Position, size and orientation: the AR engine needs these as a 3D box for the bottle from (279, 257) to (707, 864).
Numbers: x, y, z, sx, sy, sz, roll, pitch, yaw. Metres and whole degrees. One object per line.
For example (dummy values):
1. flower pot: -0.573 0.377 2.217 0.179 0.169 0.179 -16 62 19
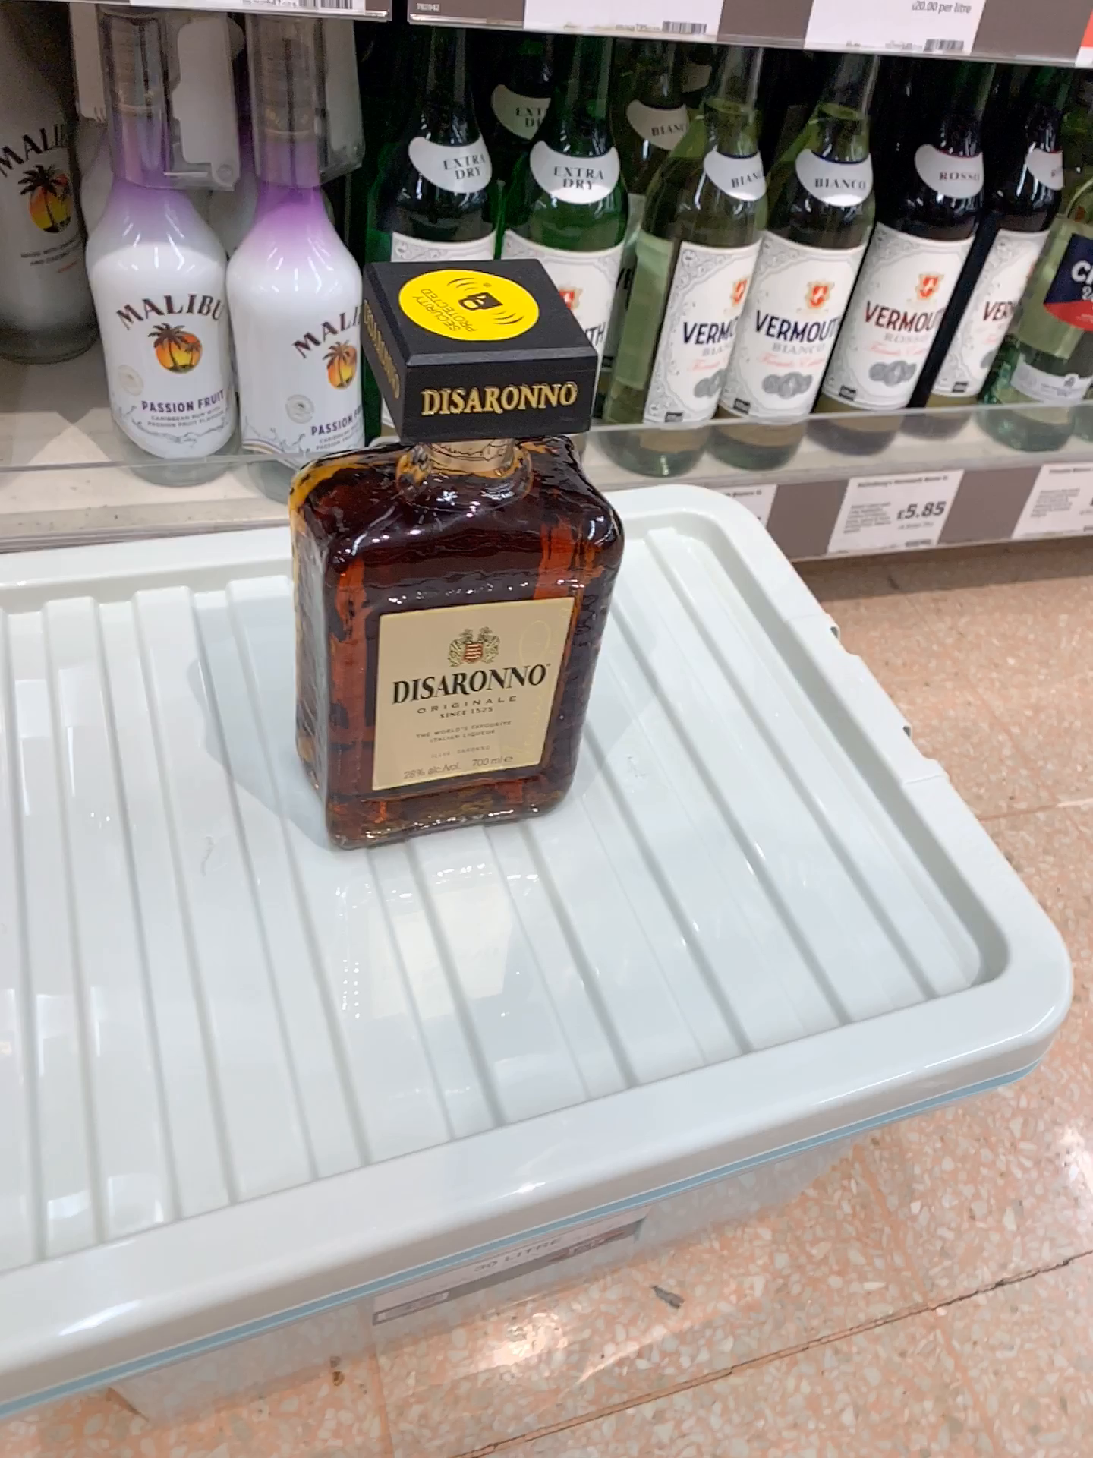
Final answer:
1. bottle: -0.031 -0.051 0.403 0.111 0.208 0.071 -8 50 -18
